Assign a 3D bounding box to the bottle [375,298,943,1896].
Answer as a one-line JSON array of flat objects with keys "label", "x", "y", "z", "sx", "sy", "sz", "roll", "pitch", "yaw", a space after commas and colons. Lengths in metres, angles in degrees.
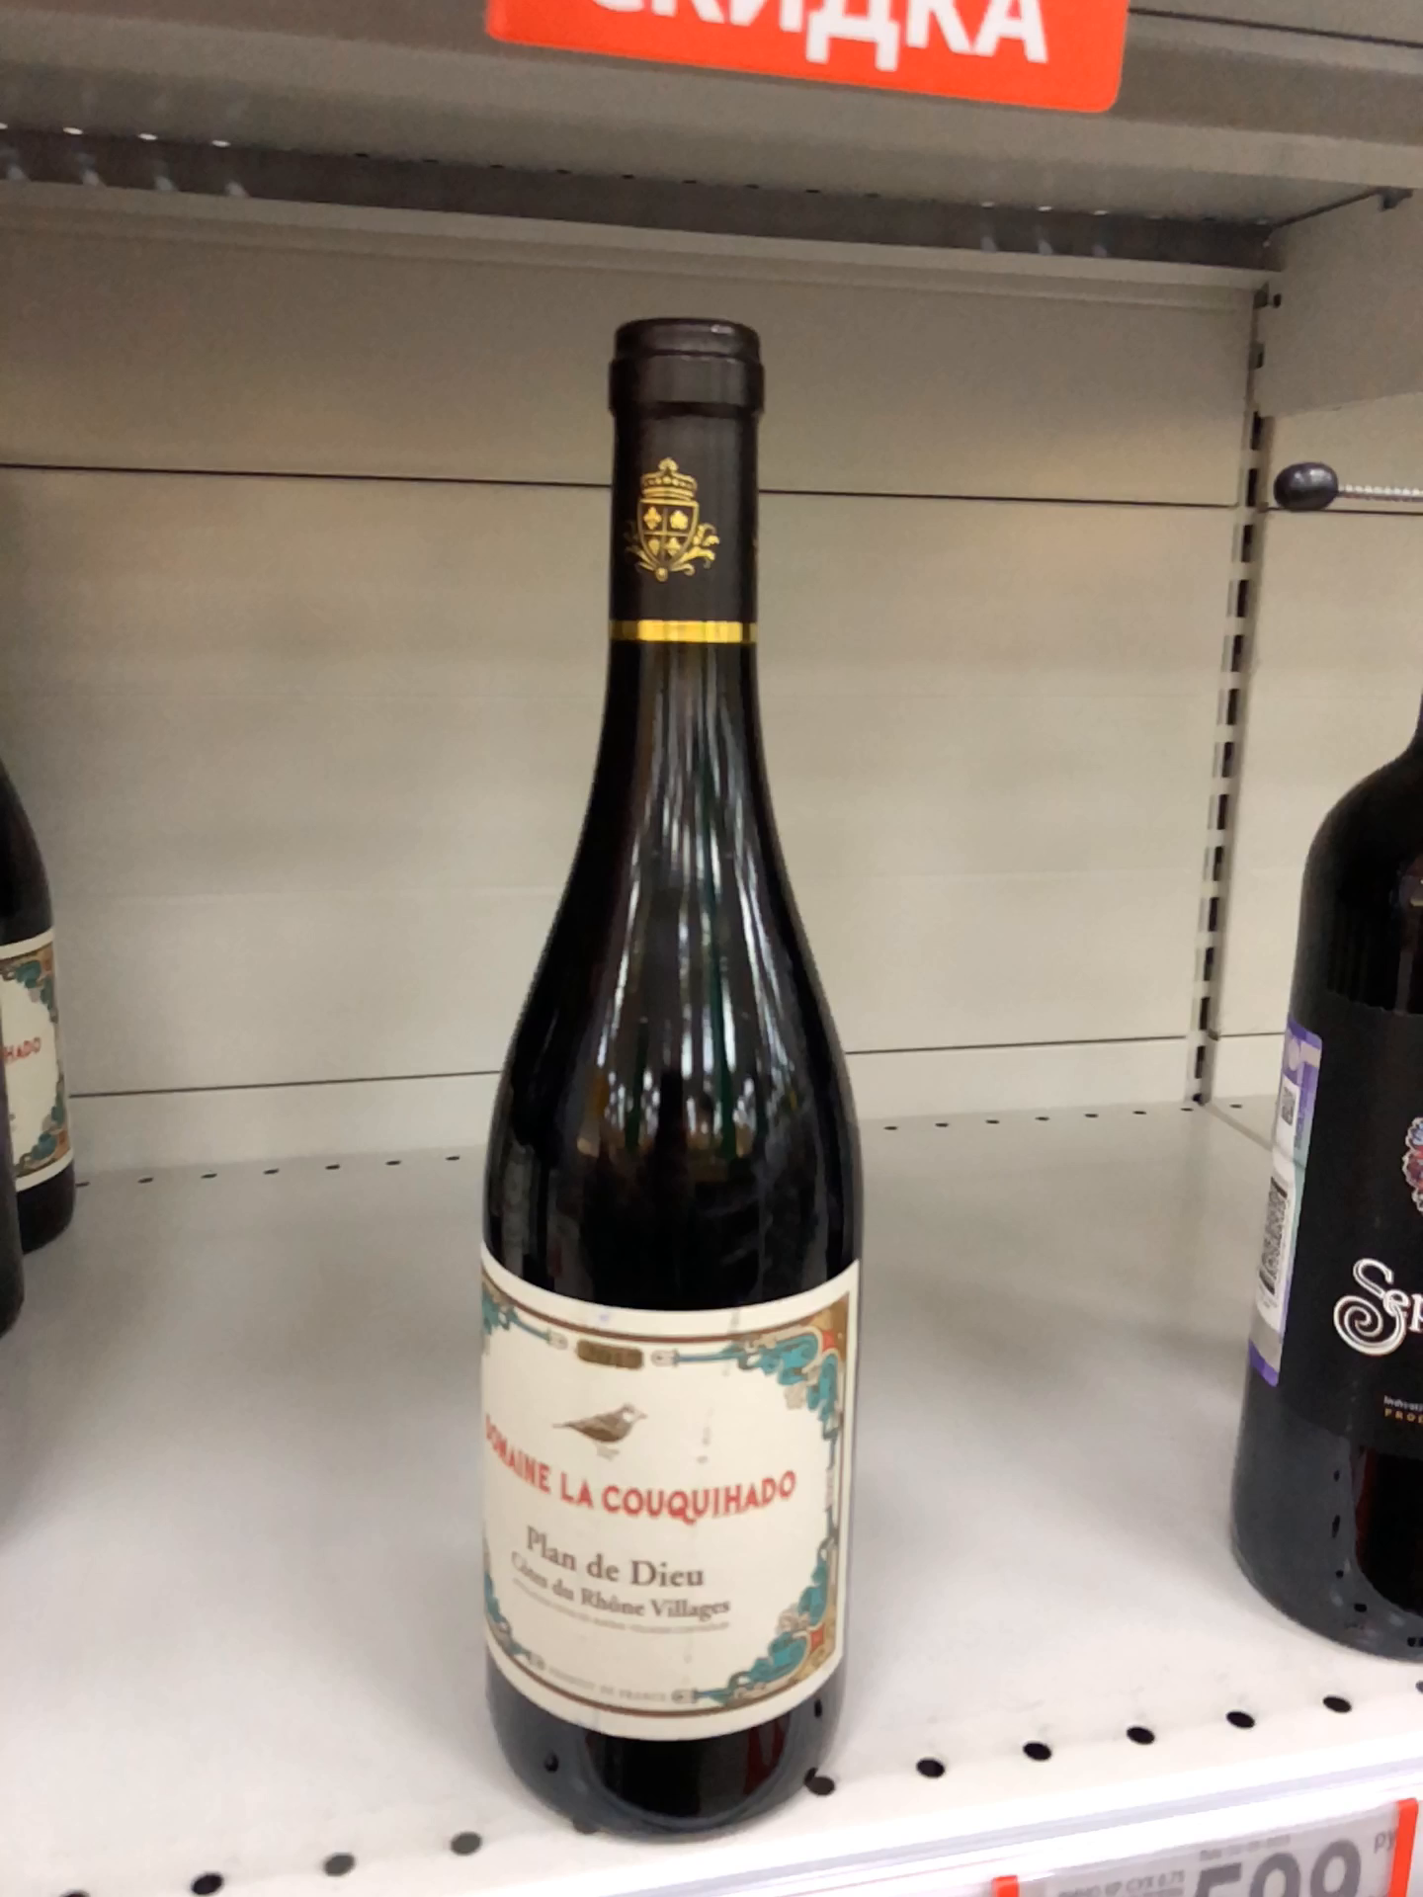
[{"label": "bottle", "x": -0.008, "y": 0.032, "z": 0.328, "sx": 0.090, "sy": 0.302, "sz": 0.080, "roll": 4, "pitch": 13, "yaw": 12}]
